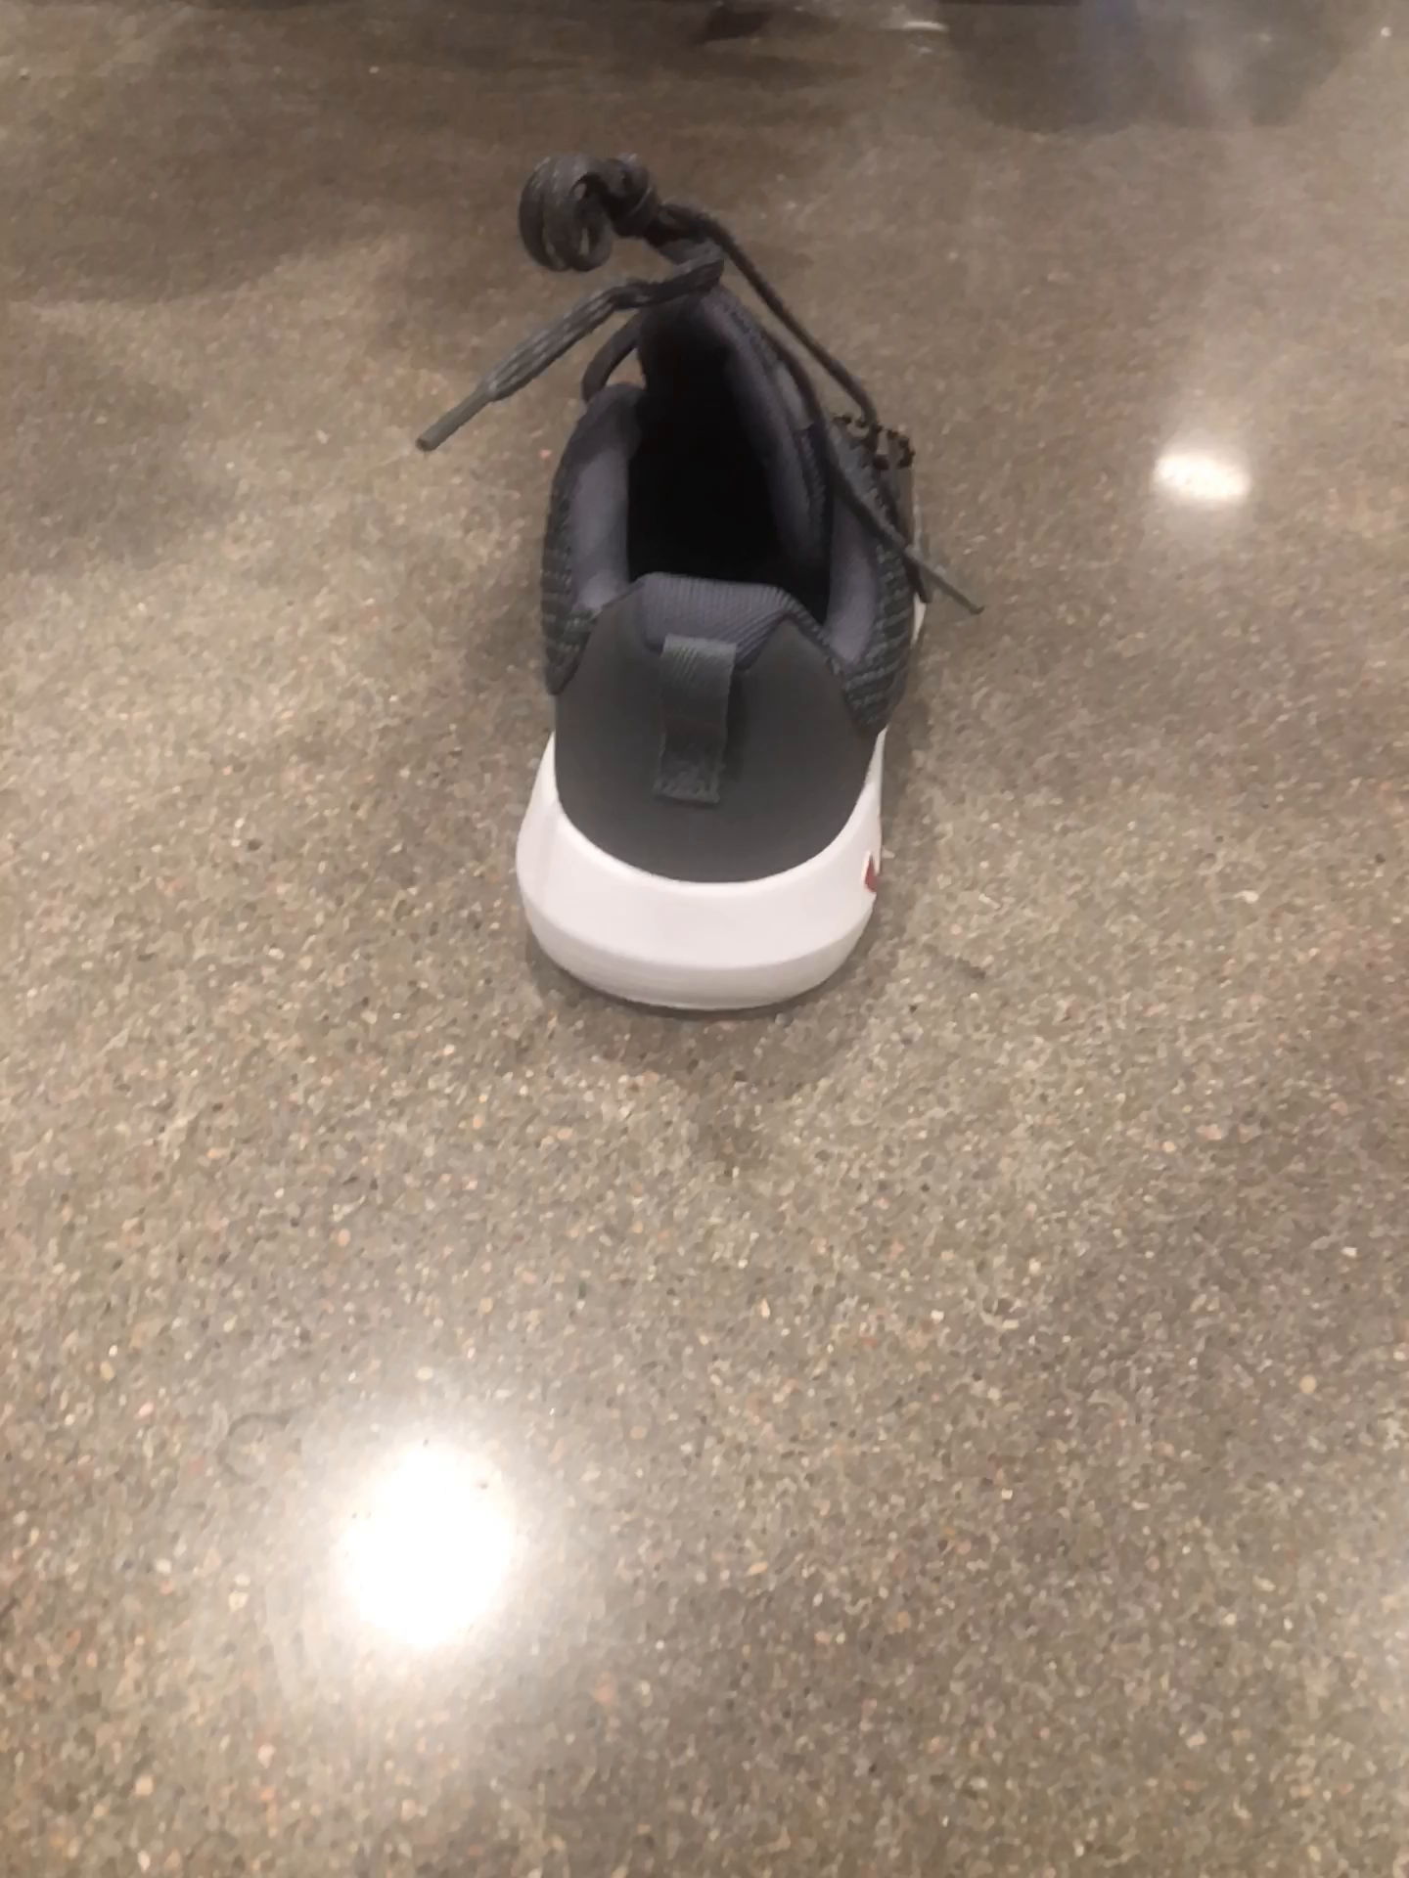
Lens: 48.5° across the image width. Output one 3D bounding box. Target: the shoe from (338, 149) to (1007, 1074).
[{"bbox_3d":[0.005,-0.102,0.392,0.116,0.084,0.266,7,45,1],"label":"shoe"}]
